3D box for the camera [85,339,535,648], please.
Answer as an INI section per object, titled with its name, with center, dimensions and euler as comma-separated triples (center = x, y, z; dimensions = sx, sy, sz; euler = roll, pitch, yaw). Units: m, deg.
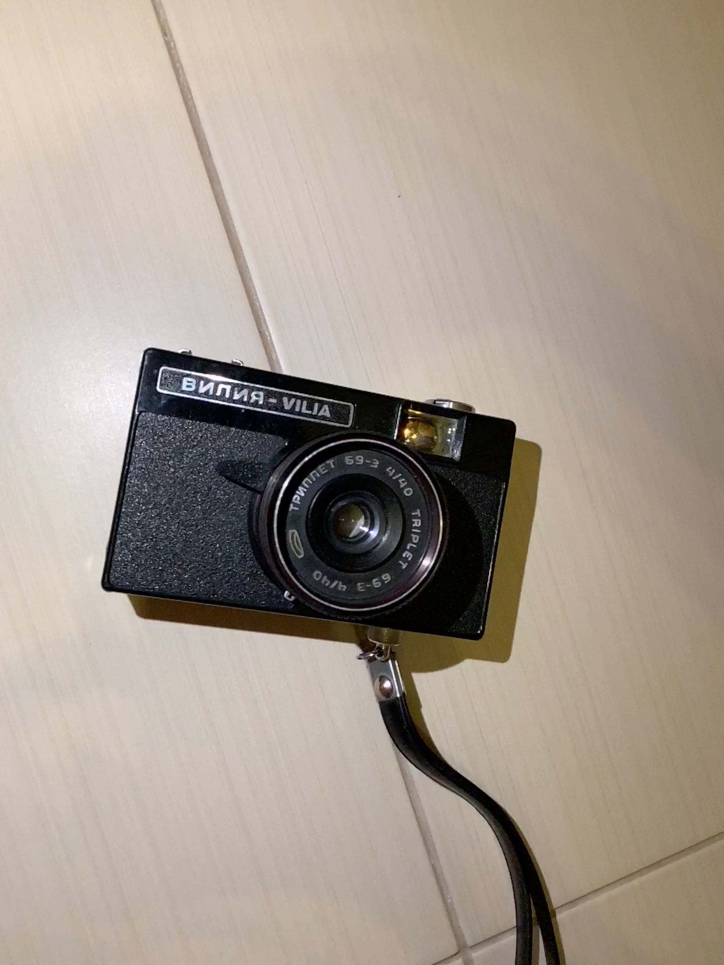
[camera]
center = -0.016, 0.005, 0.244
dimensions = 0.124, 0.041, 0.073
euler = 10, 89, -9
